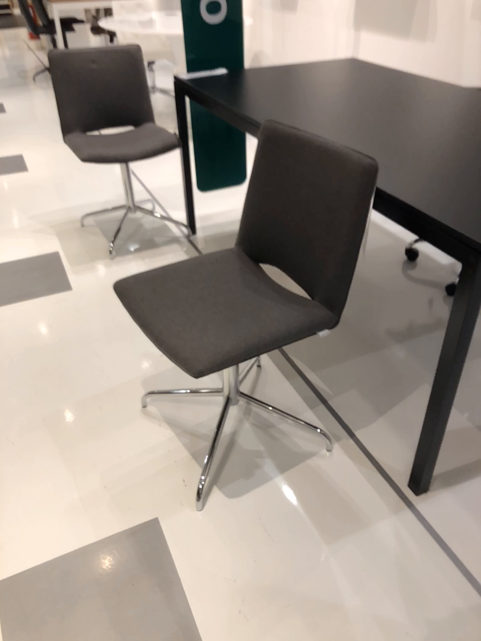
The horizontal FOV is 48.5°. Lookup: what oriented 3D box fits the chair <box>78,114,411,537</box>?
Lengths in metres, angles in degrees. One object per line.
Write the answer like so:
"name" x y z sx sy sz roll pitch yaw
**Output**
"chair" -0.006 -0.009 1.405 0.531 0.843 0.523 -20 39 -25
